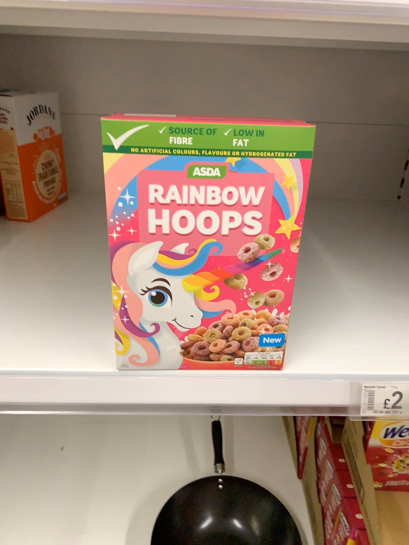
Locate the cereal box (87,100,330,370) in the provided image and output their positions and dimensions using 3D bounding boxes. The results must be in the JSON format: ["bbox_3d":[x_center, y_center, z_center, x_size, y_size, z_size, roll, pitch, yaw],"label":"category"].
[{"bbox_3d":[-0.001,-0.028,0.447,0.210,0.278,0.061,1,25,-3],"label":"cereal box"}]
